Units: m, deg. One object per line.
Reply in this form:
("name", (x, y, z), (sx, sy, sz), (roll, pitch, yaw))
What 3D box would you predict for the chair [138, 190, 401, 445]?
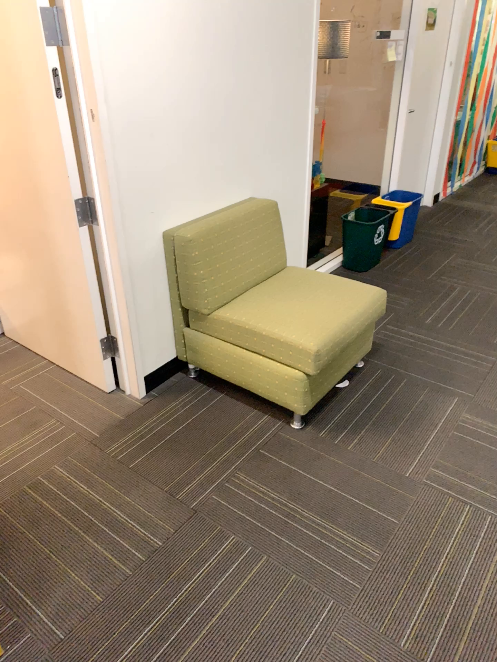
("chair", (0.099, -0.131, 2.227), (0.783, 0.686, 0.732), (21, 37, 32))
